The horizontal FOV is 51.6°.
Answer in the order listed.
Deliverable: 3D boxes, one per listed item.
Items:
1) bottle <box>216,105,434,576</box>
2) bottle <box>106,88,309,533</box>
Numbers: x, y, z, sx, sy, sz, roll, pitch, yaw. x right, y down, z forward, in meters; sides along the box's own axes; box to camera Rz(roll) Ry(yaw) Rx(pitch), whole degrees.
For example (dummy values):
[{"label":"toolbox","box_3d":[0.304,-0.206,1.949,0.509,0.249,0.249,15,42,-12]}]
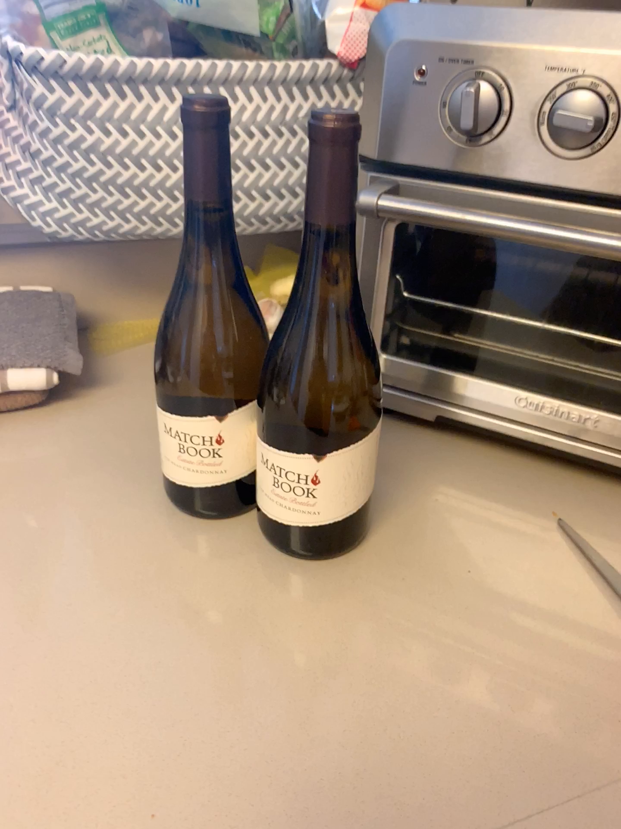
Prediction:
[{"label":"bottle","box_3d":[0.006,-0.040,0.419,0.090,0.278,0.090,2,32,-1]},{"label":"bottle","box_3d":[-0.063,-0.064,0.456,0.090,0.288,0.090,2,32,-1]}]
